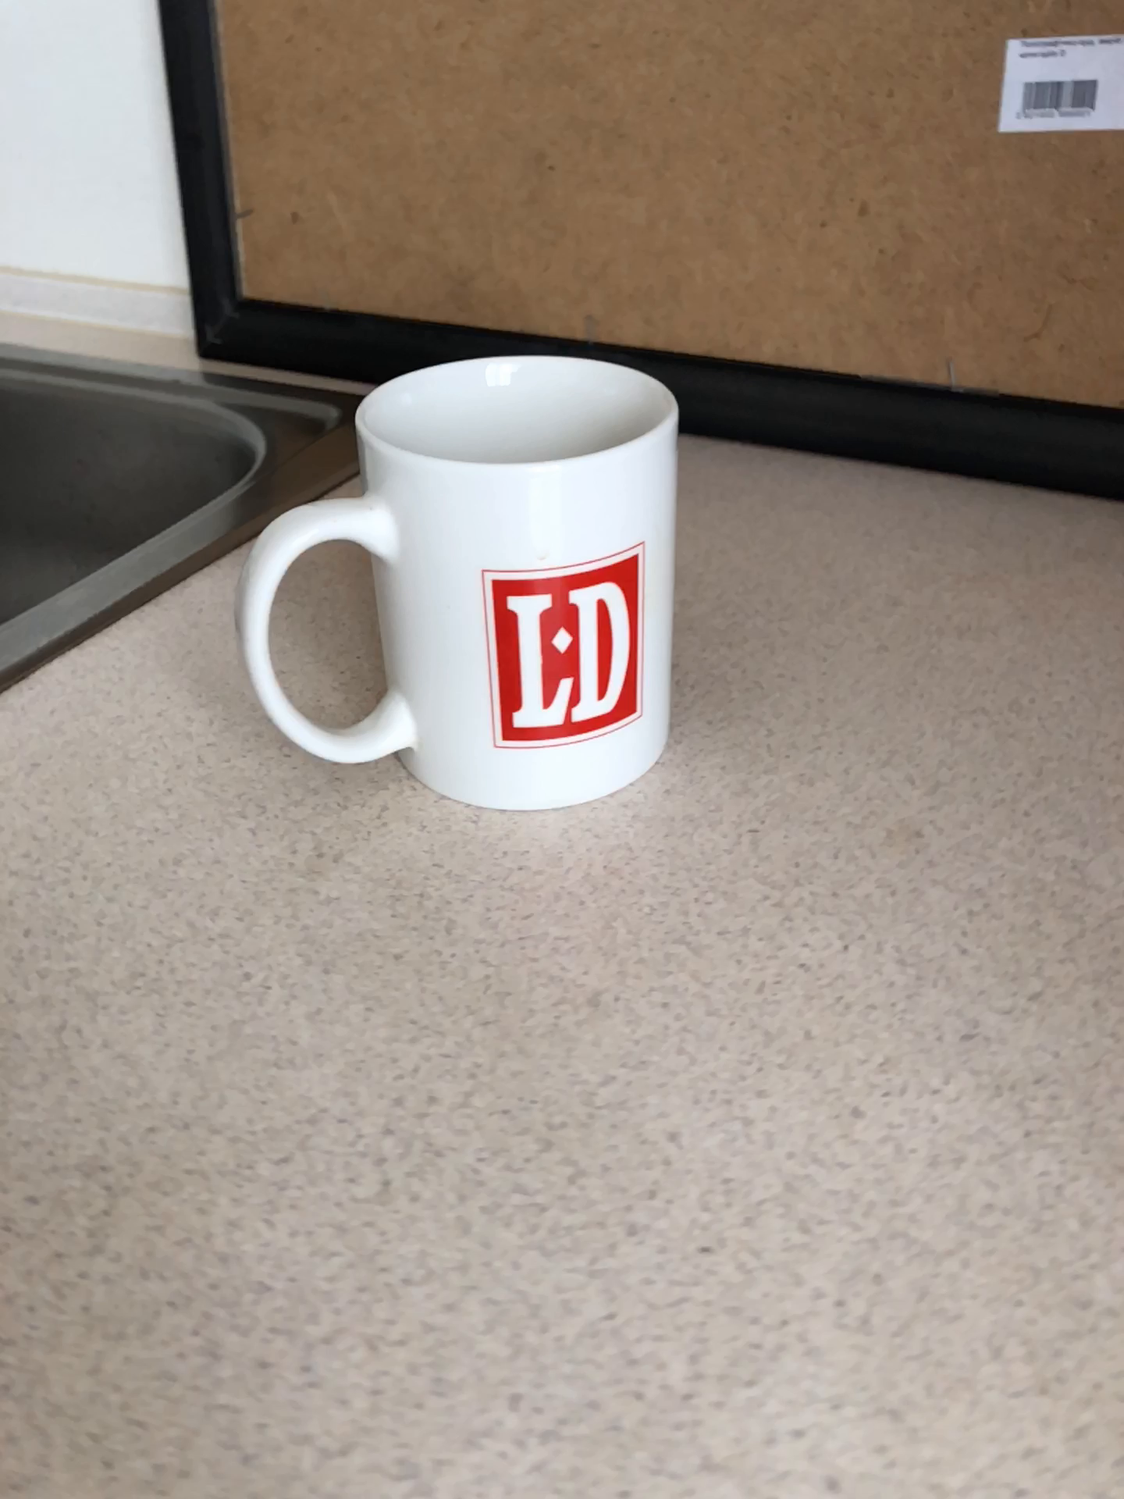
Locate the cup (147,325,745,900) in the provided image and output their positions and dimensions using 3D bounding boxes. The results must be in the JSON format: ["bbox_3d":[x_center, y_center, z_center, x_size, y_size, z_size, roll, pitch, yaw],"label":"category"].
[{"bbox_3d":[-0.028,-0.042,0.327,0.120,0.099,0.084,-19,37,-24],"label":"cup"}]
